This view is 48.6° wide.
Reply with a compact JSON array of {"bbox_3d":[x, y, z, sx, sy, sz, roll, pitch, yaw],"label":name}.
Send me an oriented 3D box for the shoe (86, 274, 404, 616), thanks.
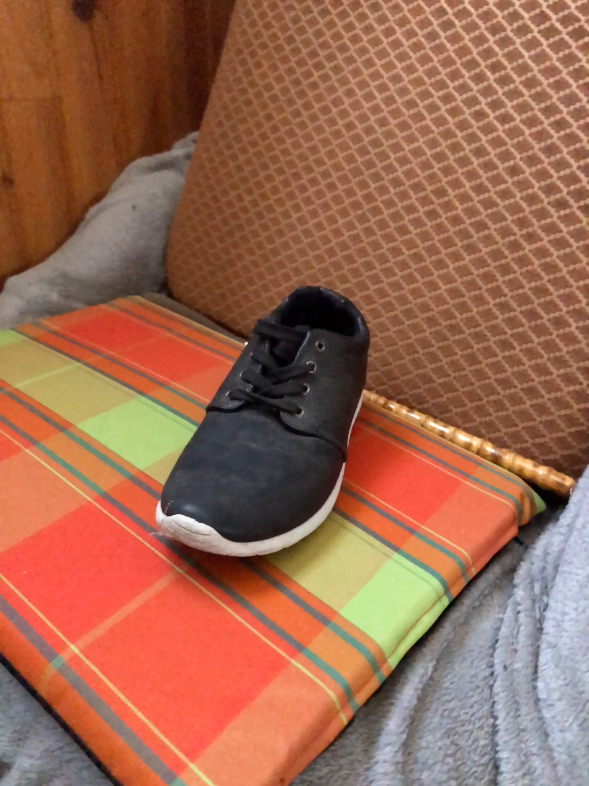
[{"bbox_3d":[-0.010,0.008,0.442,0.110,0.080,0.268,11,31,15],"label":"shoe"}]
